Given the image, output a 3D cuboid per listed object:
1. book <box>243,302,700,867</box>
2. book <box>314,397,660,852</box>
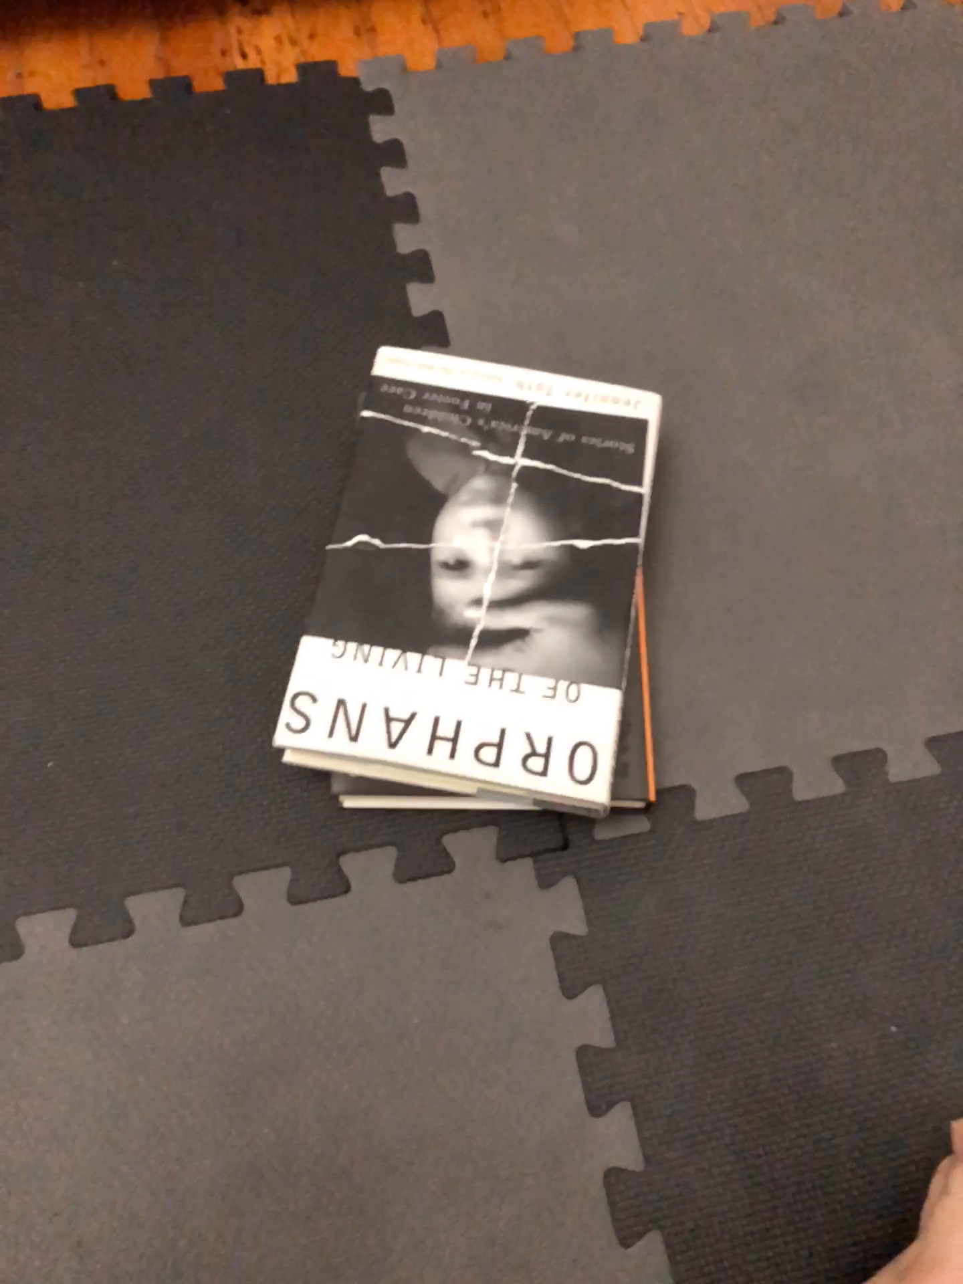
[{"bbox_3d":[0.007,-0.043,0.537,0.180,0.030,0.281,9,65,3],"label":"book"},{"bbox_3d":[0.001,-0.018,0.558,0.160,0.030,0.251,0,65,-1],"label":"book"}]
